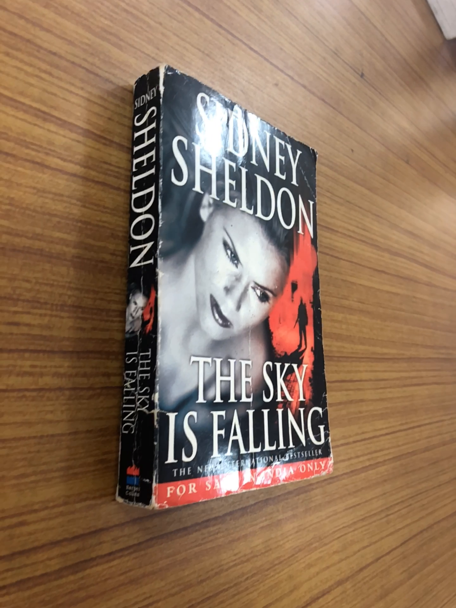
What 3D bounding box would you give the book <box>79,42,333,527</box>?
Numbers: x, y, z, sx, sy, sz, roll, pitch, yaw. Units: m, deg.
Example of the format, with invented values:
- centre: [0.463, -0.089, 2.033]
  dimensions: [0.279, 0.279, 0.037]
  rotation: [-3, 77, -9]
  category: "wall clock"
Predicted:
- centre: [0.000, -0.004, 0.229]
  dimensions: [0.121, 0.030, 0.170]
  rotation: [12, 75, -47]
  category: "book"
